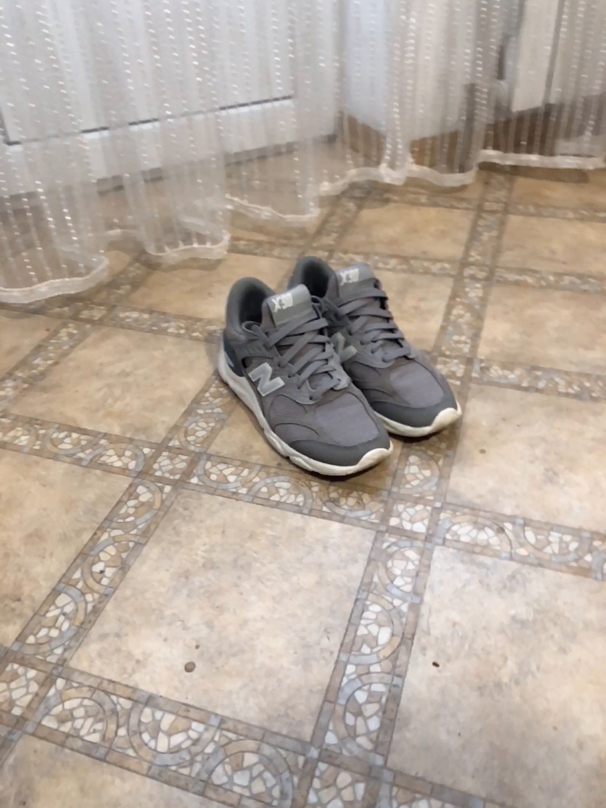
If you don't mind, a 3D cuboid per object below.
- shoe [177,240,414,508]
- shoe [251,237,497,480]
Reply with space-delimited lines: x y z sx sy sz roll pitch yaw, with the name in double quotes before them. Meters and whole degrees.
"shoe" -0.018 -0.045 0.648 0.100 0.119 0.272 -21 41 -22
"shoe" 0.060 -0.061 0.699 0.100 0.119 0.271 -23 42 -24
